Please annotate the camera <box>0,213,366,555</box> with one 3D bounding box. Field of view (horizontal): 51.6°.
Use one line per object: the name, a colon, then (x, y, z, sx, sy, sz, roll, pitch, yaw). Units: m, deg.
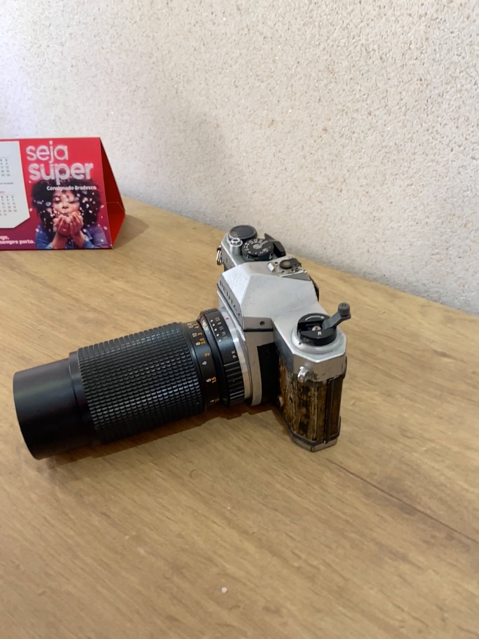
camera: (-0.047, 0.019, 0.301, 0.180, 0.079, 0.151, -15, 39, -16)
